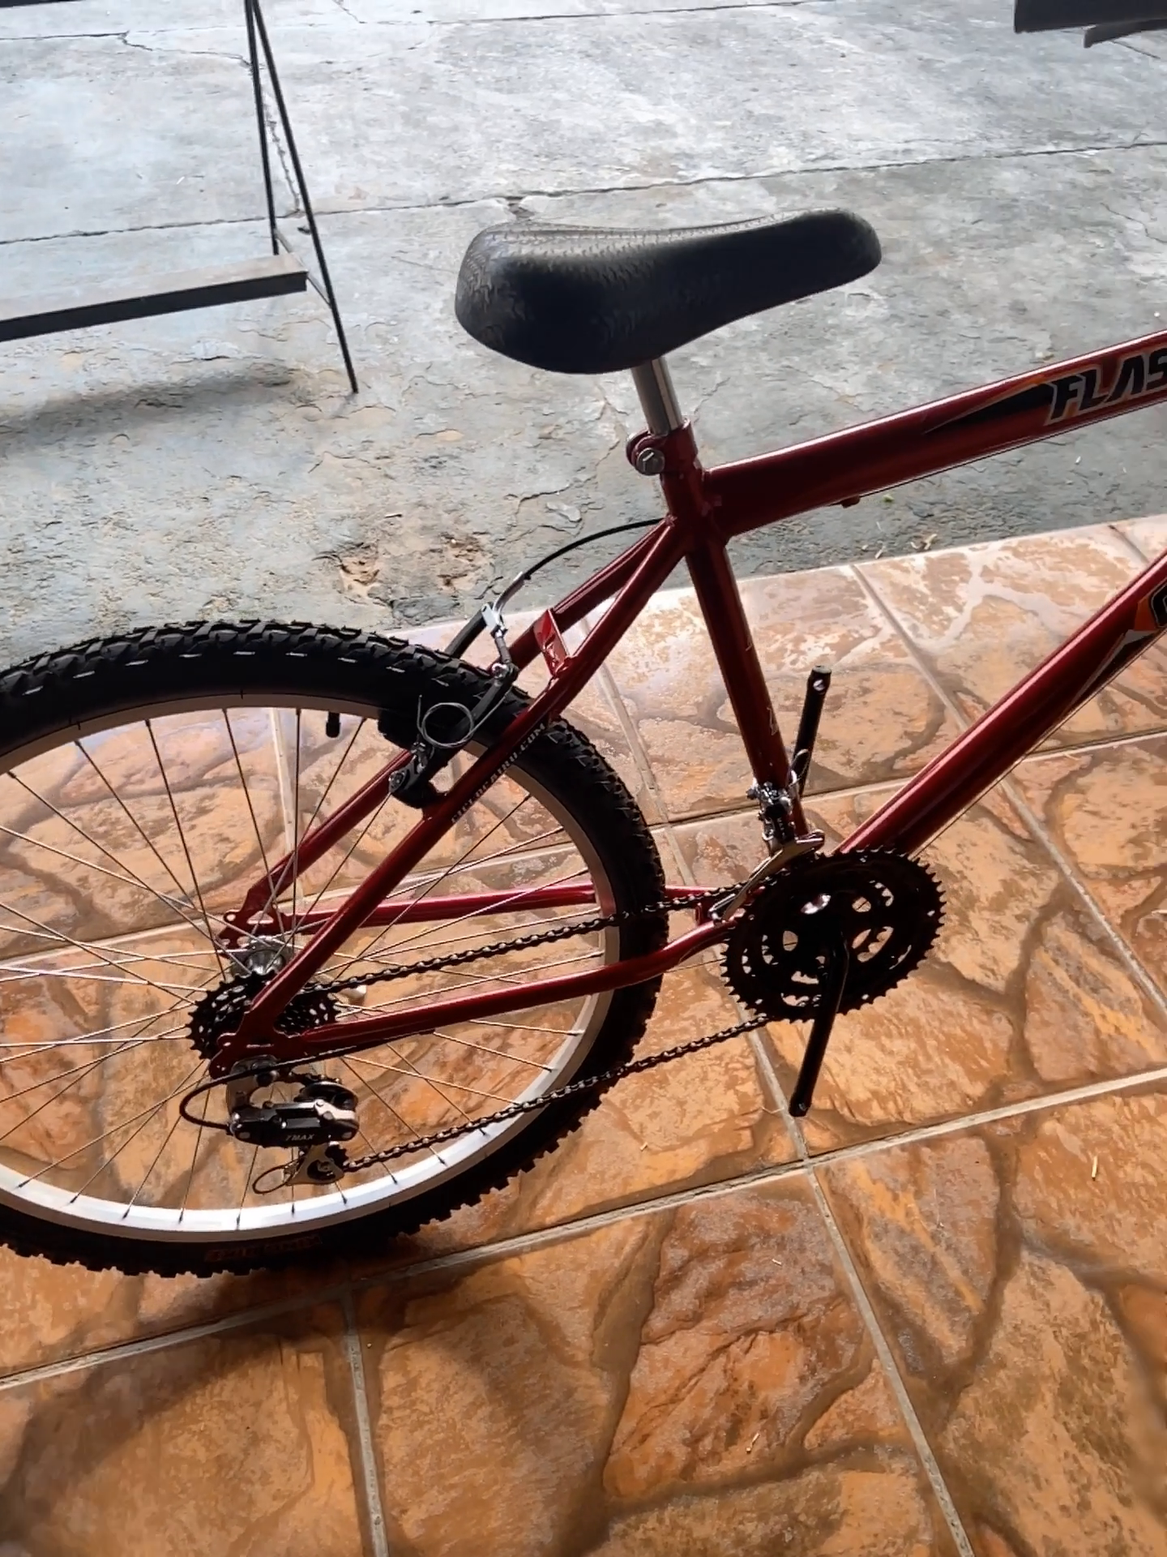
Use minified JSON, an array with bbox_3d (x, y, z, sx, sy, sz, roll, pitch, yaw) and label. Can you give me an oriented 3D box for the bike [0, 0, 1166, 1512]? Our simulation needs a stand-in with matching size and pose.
[{"bbox_3d":[0.149,-0.153,1.011,1.558,0.986,0.601,-14,49,-17],"label":"bike"}]
